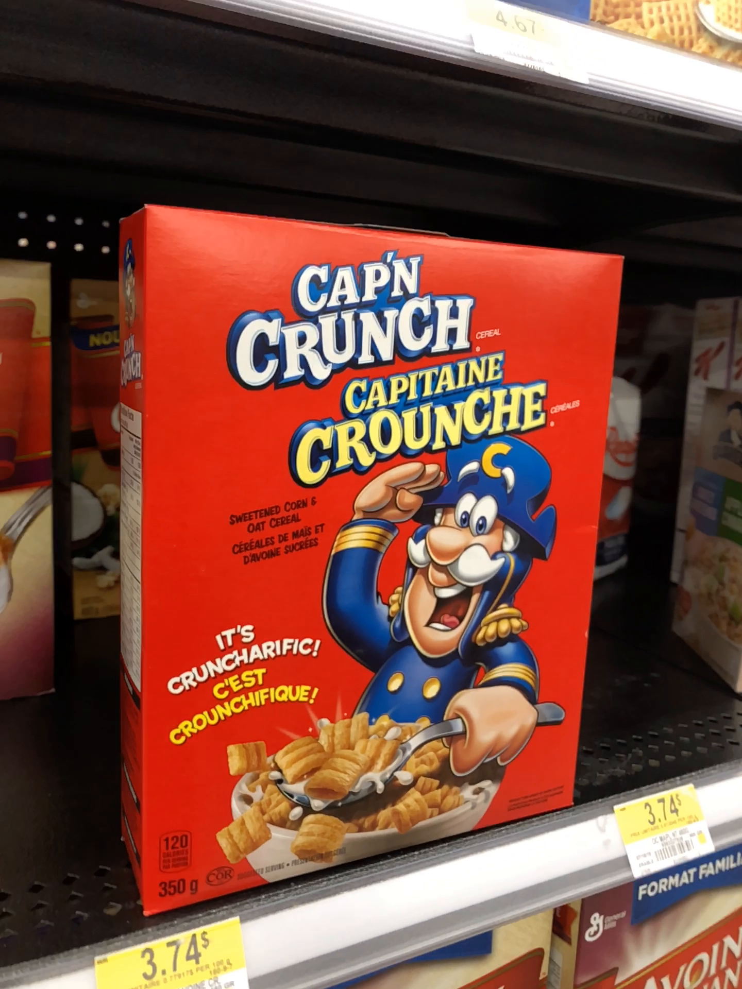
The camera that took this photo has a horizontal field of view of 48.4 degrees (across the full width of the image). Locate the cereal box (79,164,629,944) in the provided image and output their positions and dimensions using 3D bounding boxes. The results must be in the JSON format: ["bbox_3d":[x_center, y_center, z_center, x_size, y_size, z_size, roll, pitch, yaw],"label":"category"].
[{"bbox_3d":[-0.007,0.022,0.361,0.220,0.279,0.060,-2,11,-26],"label":"cereal box"}]
